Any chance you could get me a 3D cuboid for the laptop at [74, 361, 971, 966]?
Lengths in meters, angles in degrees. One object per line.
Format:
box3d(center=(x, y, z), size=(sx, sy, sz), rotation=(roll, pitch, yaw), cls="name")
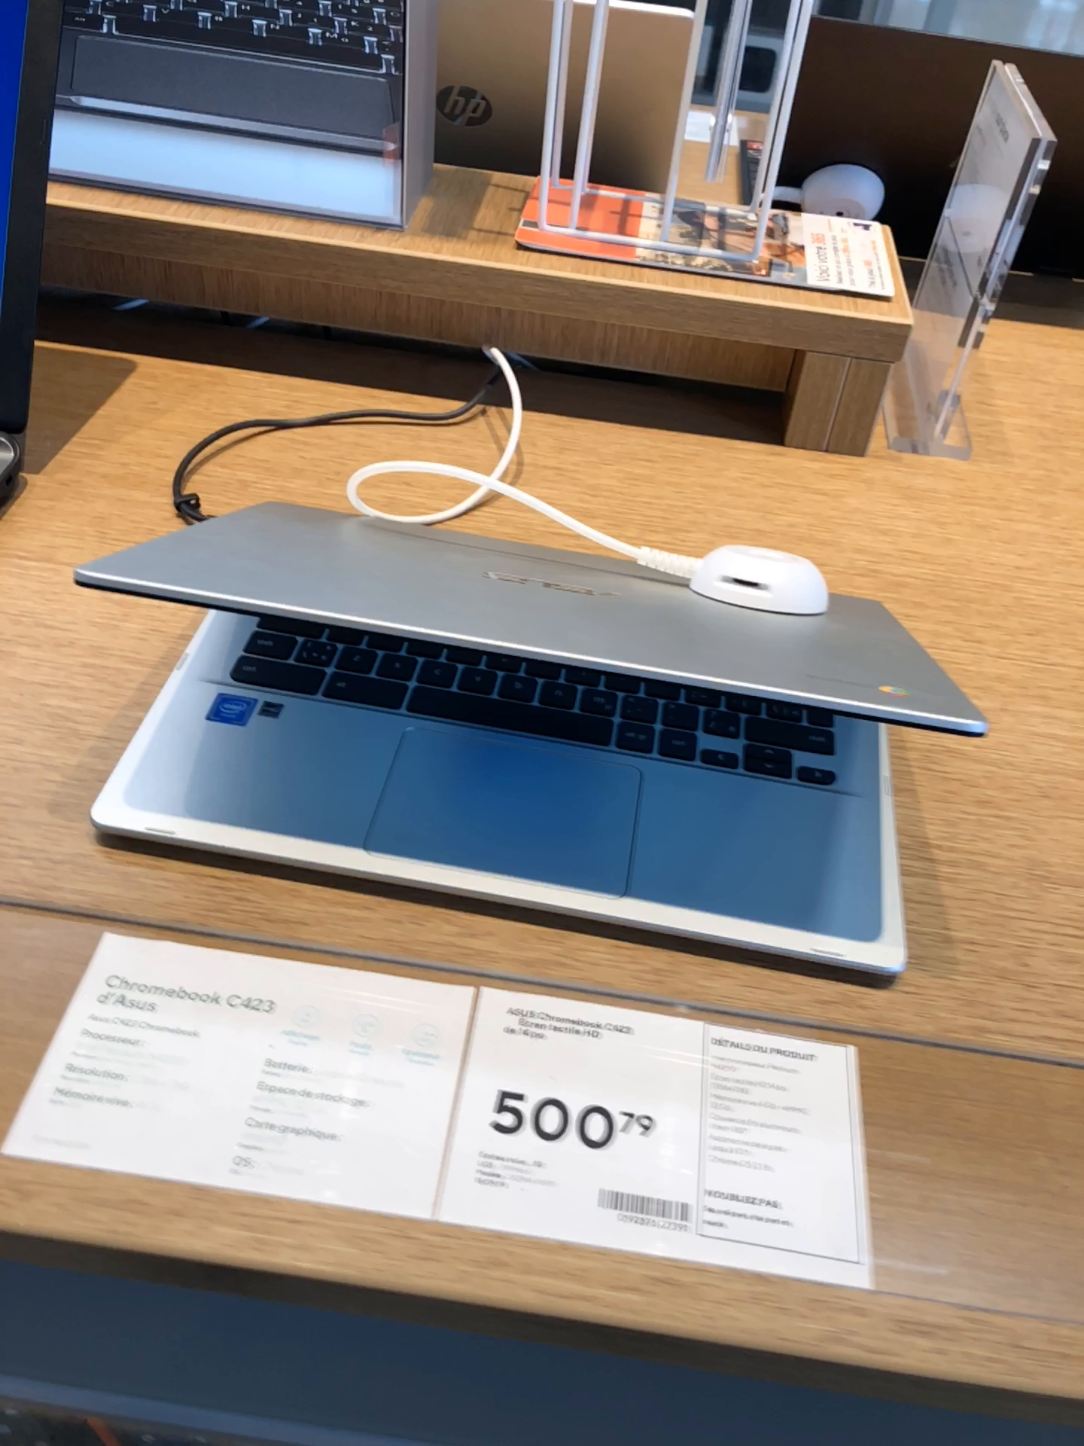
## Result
box3d(center=(0.005, -0.037, 0.498), size=(0.304, 0.080, 0.206), rotation=(11, 45, 1), cls="laptop")
